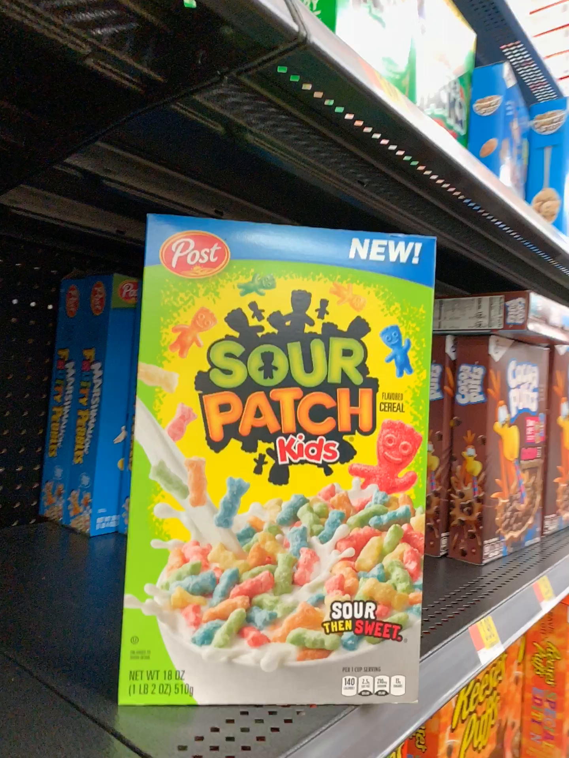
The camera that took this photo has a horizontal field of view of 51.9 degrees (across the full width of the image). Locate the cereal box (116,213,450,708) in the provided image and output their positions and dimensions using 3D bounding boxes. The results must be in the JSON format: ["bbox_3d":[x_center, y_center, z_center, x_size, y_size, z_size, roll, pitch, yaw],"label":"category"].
[{"bbox_3d":[-0.001,0.055,0.419,0.200,0.310,0.080,4,-2,-7],"label":"cereal box"}]
